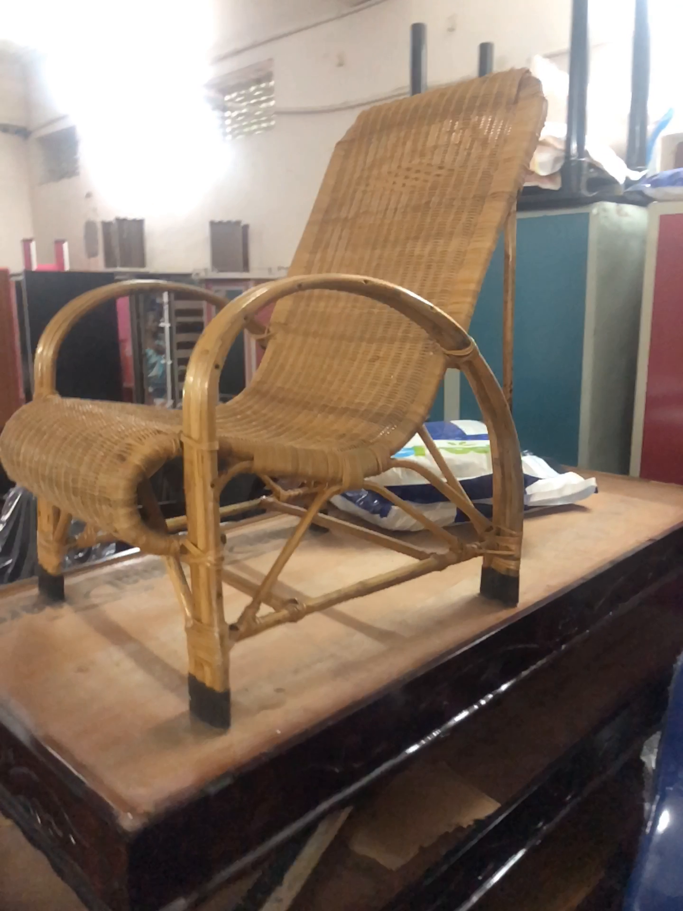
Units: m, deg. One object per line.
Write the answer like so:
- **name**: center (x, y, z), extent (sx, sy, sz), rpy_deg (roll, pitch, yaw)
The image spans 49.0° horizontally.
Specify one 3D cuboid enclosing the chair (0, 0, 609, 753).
- **chair**: center (-0.118, -0.251, 1.344), extent (0.822, 0.997, 0.770), rpy_deg (-10, 15, -41)
